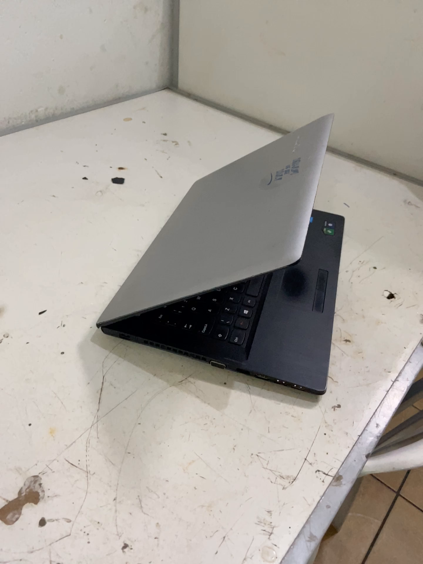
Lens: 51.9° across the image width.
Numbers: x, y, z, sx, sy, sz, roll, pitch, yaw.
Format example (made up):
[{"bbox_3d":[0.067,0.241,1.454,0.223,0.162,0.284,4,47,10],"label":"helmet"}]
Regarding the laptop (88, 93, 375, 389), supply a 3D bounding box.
[{"bbox_3d":[0.052,-0.085,0.536,0.245,0.148,0.346,14,41,10],"label":"laptop"}]
